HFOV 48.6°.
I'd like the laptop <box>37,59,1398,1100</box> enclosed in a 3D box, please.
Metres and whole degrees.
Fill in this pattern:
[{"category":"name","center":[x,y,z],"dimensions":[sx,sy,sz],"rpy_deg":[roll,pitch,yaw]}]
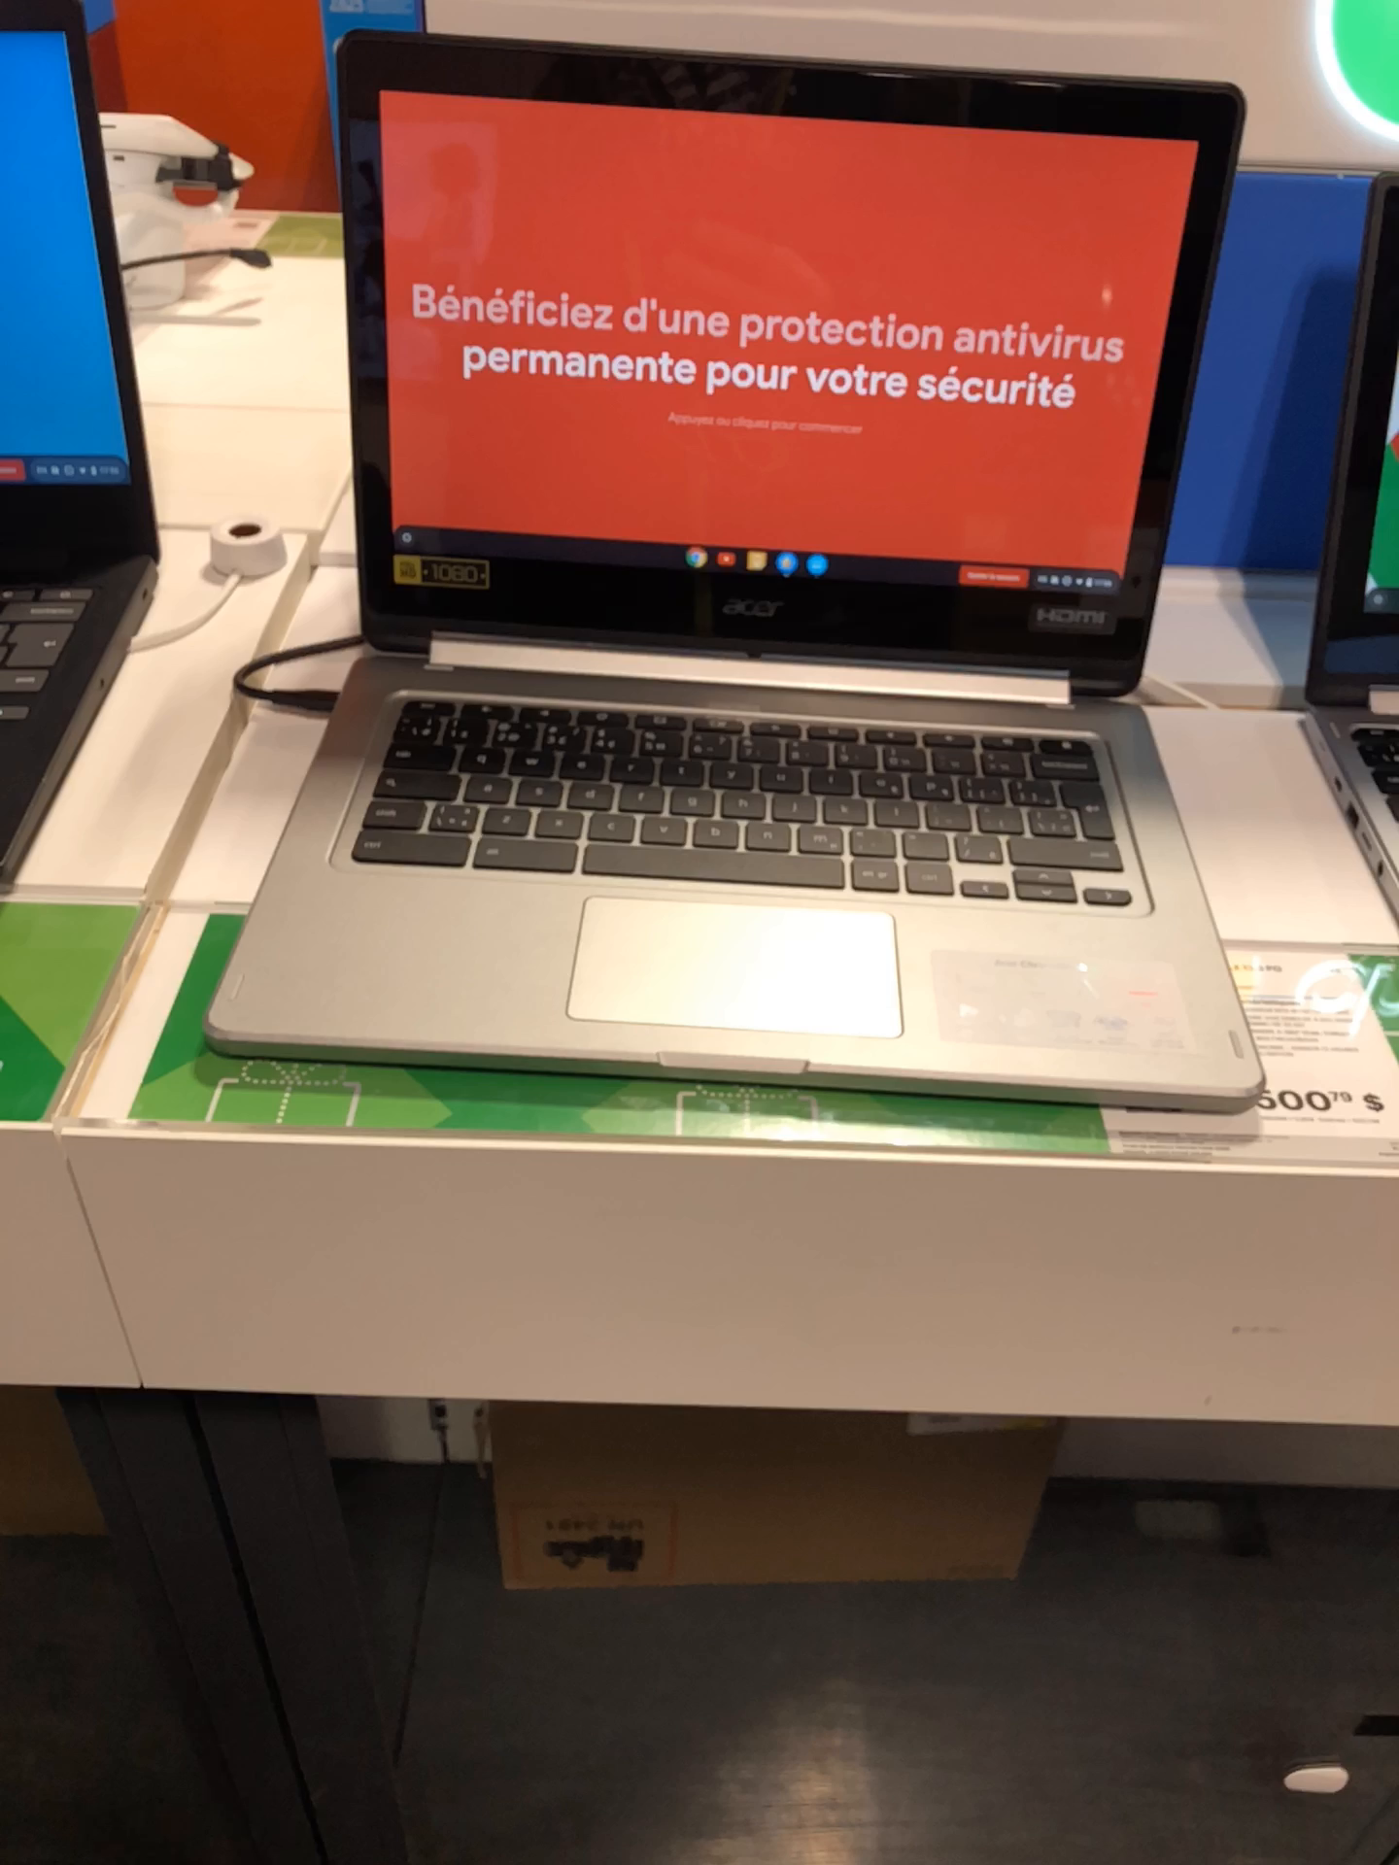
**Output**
[{"category":"laptop","center":[0.018,-0.121,0.490],"dimensions":[0.317,0.226,0.240],"rpy_deg":[3,38,1]}]
